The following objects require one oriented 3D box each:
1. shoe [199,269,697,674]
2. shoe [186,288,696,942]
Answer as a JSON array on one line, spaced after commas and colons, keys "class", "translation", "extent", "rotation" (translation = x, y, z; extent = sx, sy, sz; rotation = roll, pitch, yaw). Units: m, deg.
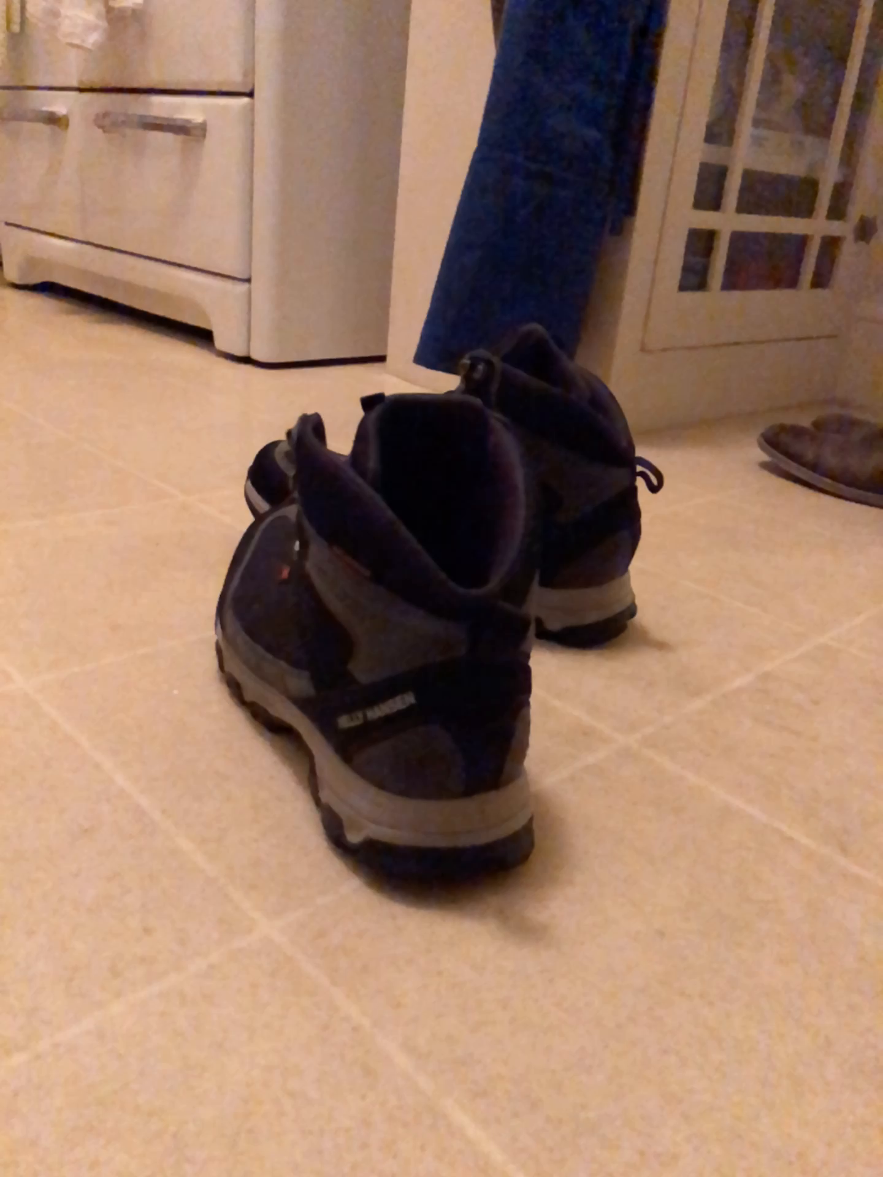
[{"class": "shoe", "translation": [-0.007, -0.094, 0.656], "extent": [0.299, 0.195, 0.117], "rotation": [16, 24, 22]}, {"class": "shoe", "translation": [-0.038, -0.023, 0.478], "extent": [0.126, 0.195, 0.310], "rotation": [-4, 24, -23]}]
